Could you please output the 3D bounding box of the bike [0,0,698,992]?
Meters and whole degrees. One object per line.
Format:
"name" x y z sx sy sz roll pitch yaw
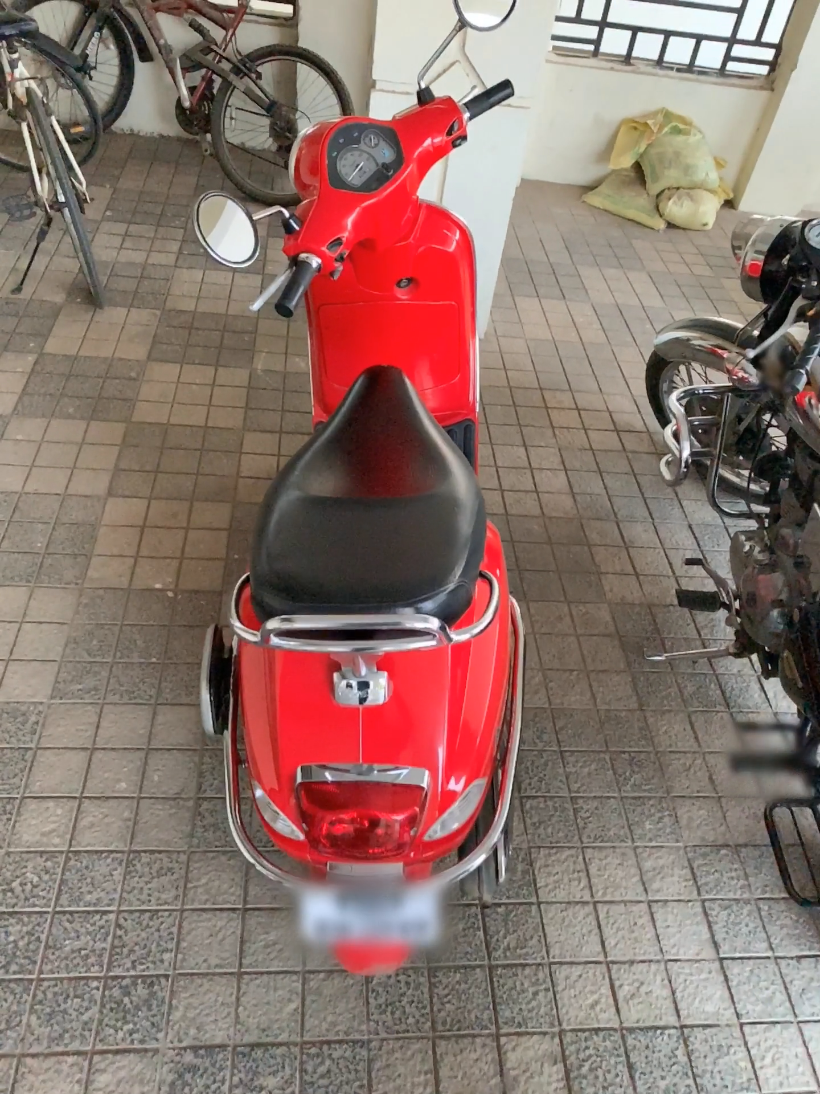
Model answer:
"bike" -0.278 -0.174 1.675 0.681 1.263 1.553 0 45 -10
